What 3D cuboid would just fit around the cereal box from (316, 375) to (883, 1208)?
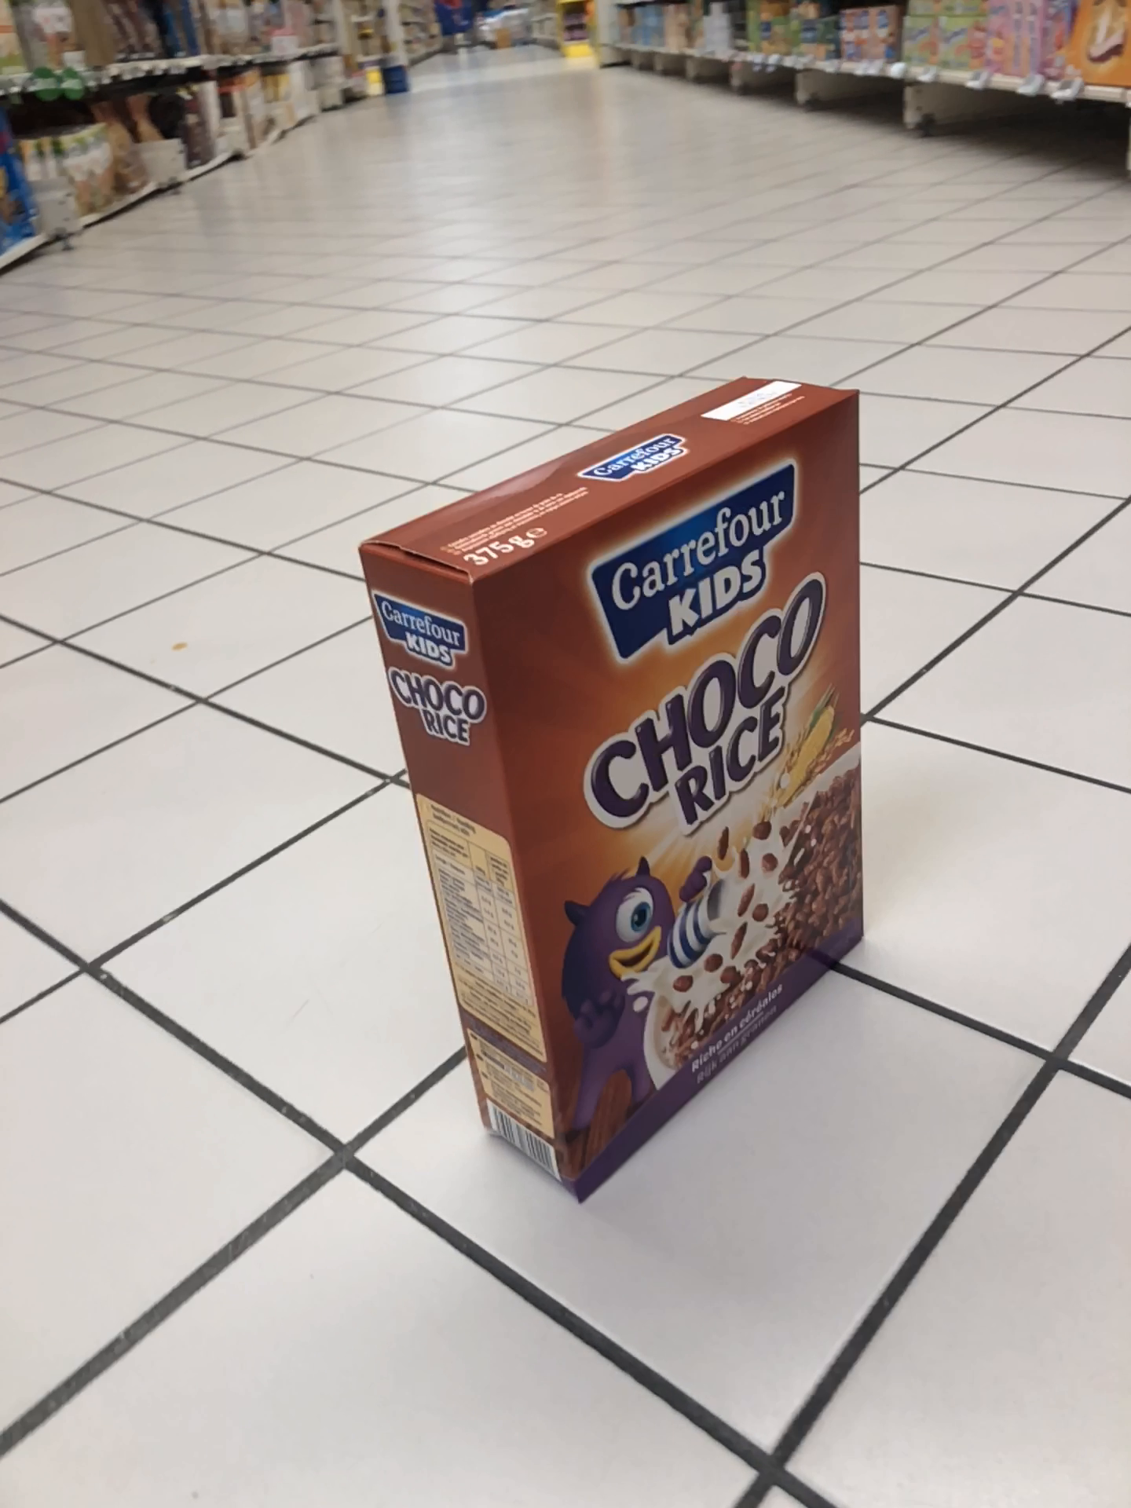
[{"bbox_3d":[0.034,0.007,0.467,0.070,0.239,0.201,21,41,40],"label":"cereal box"}]
